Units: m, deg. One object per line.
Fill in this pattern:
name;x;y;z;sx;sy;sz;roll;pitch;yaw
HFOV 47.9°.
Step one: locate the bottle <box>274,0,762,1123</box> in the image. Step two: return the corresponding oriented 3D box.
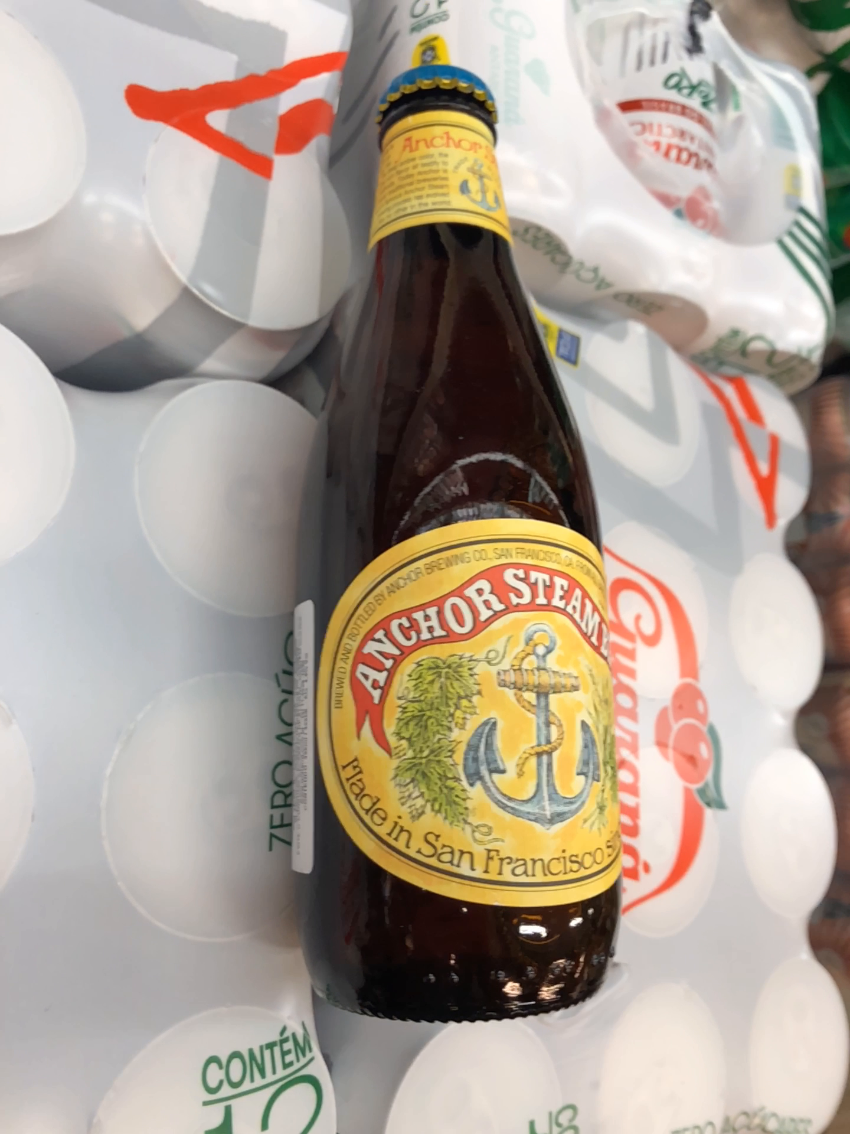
bottle;0.015;-0.022;0.199;0.070;0.060;0.220;6;78;-37
